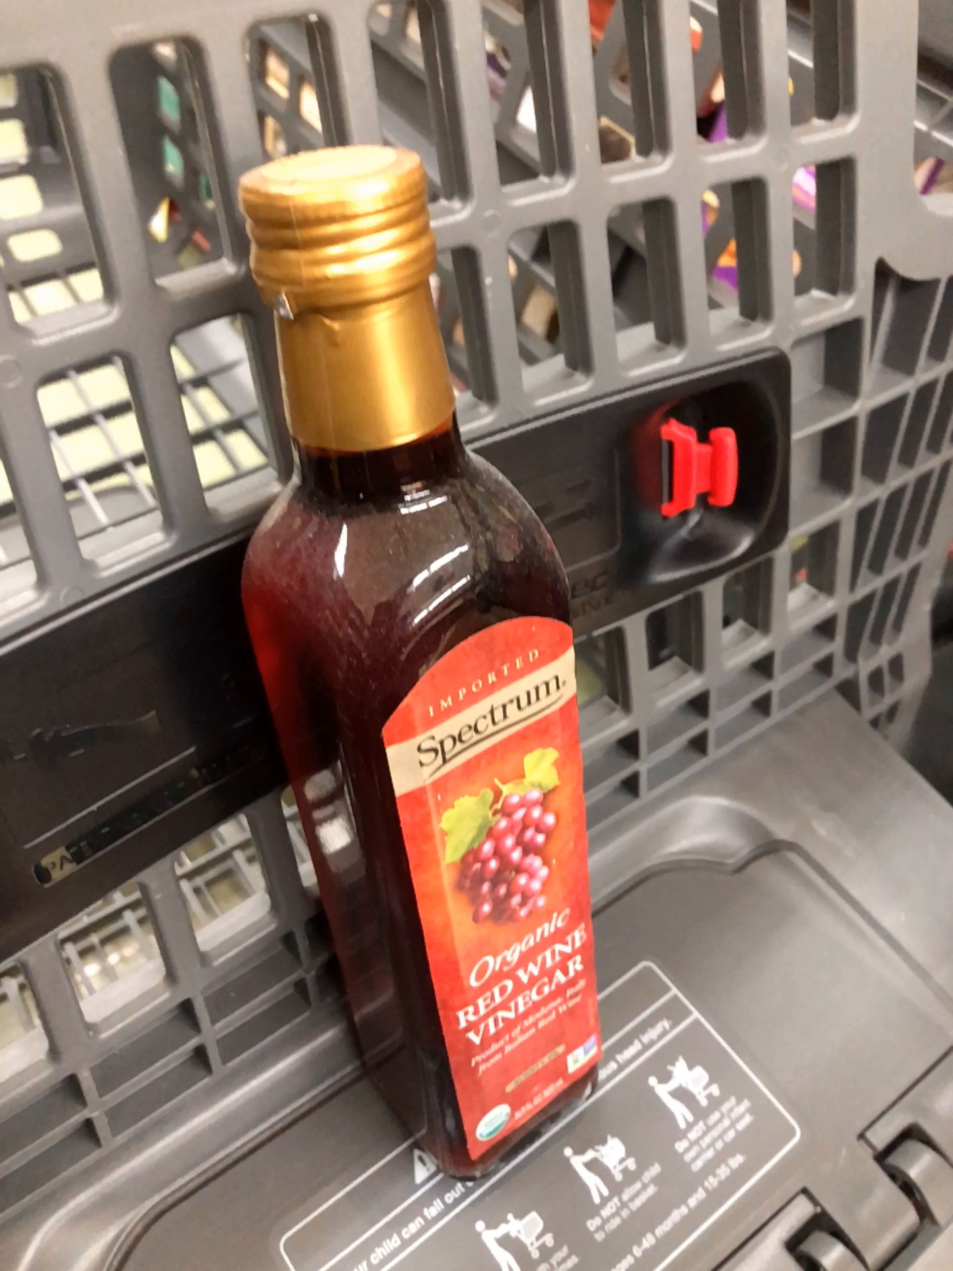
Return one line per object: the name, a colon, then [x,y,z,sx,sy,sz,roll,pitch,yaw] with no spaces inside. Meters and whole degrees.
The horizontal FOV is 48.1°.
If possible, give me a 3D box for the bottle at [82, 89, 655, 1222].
bottle: [-0.009,0.026,0.258,0.070,0.270,0.070,-4,36,3]
